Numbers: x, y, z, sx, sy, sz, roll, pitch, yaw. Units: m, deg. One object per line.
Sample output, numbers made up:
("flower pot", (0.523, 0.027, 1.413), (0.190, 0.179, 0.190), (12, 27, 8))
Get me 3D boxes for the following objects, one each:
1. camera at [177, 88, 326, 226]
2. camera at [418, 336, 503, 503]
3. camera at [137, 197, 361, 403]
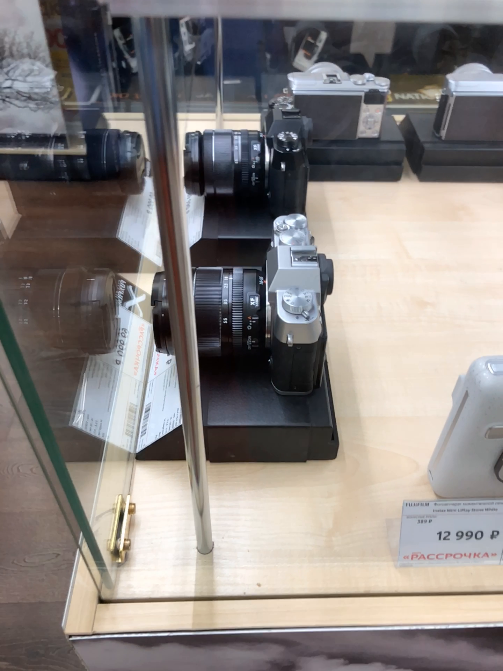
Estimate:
("camera", (0.001, -0.181, 0.556), (0.130, 0.080, 0.124), (2, 45, 0))
("camera", (0.165, 0.054, 0.336), (0.094, 0.110, 0.039), (-1, 45, -3))
("camera", (0.000, -0.028, 0.395), (0.130, 0.080, 0.124), (2, 45, 0))
